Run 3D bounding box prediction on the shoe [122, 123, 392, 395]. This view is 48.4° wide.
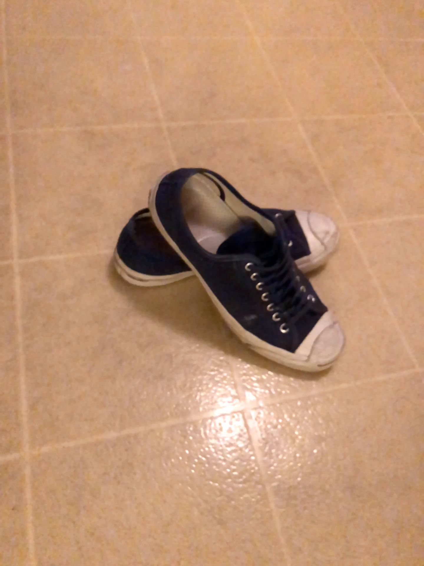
[{"bbox_3d":[0.046,-0.019,0.523,0.290,0.100,0.100,44,77,-10],"label":"shoe"}]

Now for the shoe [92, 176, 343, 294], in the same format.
[{"bbox_3d":[0.006,-0.065,0.599,0.290,0.080,0.110,-5,64,-22],"label":"shoe"}]
